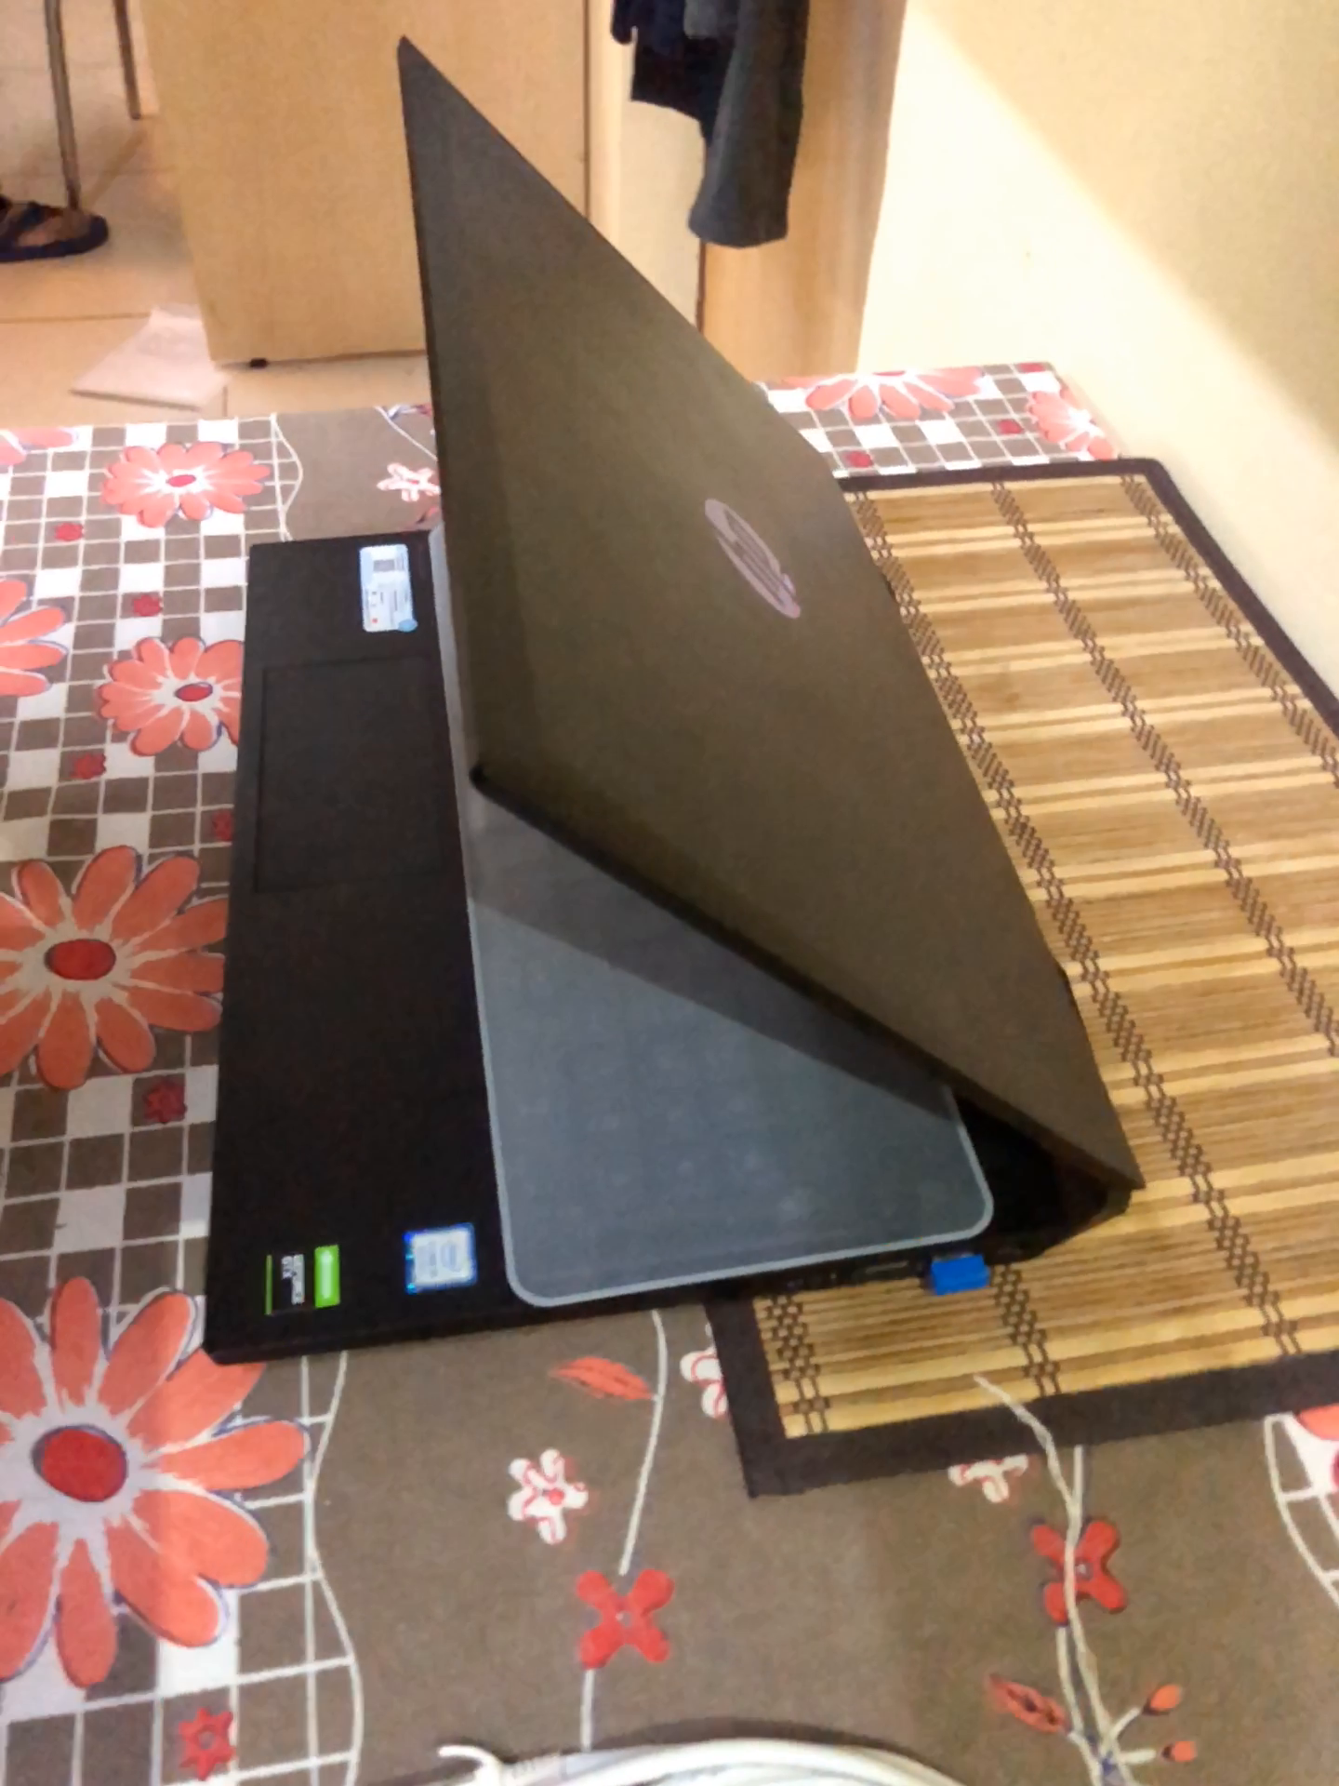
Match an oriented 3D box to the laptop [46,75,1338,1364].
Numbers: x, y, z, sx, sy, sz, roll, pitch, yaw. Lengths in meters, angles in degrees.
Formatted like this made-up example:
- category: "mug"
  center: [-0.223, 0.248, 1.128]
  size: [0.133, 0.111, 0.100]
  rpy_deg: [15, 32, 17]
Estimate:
- category: "laptop"
  center: [-0.016, -0.084, 0.440]
  size: [0.236, 0.164, 0.357]
  rpy_deg: [-8, 46, -4]
